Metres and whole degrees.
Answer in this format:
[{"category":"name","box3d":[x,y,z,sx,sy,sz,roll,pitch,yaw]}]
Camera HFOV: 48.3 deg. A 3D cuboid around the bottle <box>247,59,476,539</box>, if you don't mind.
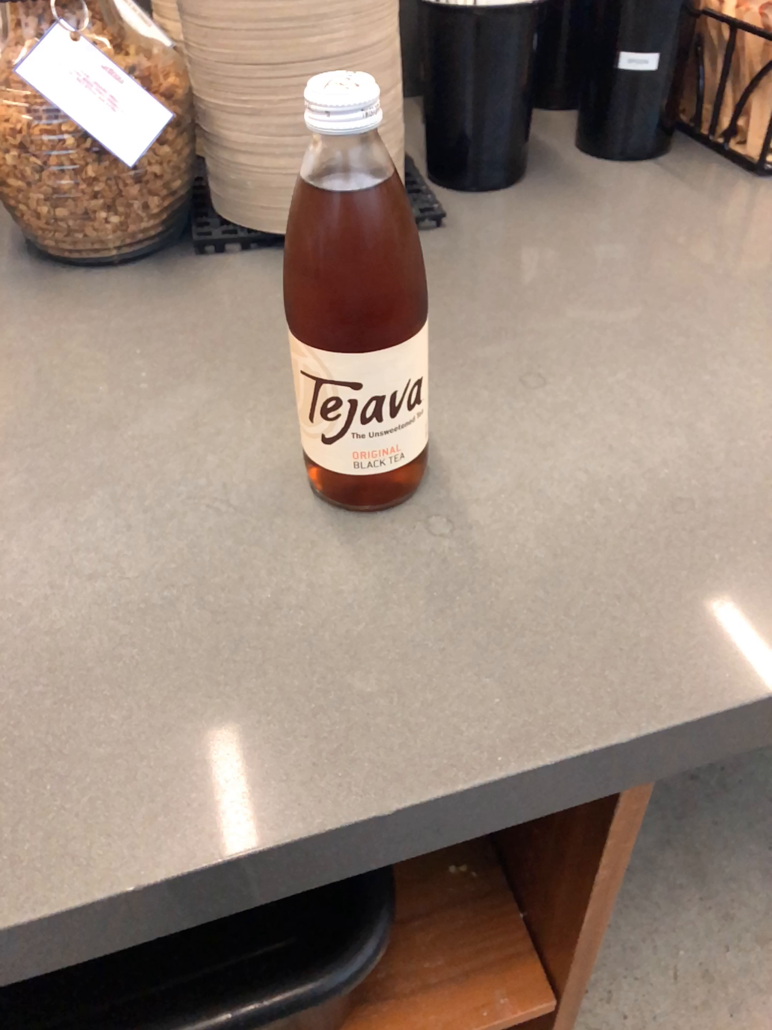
[{"category":"bottle","box3d":[-0.010,-0.088,0.387,0.070,0.189,0.070,-1,42,1]}]
